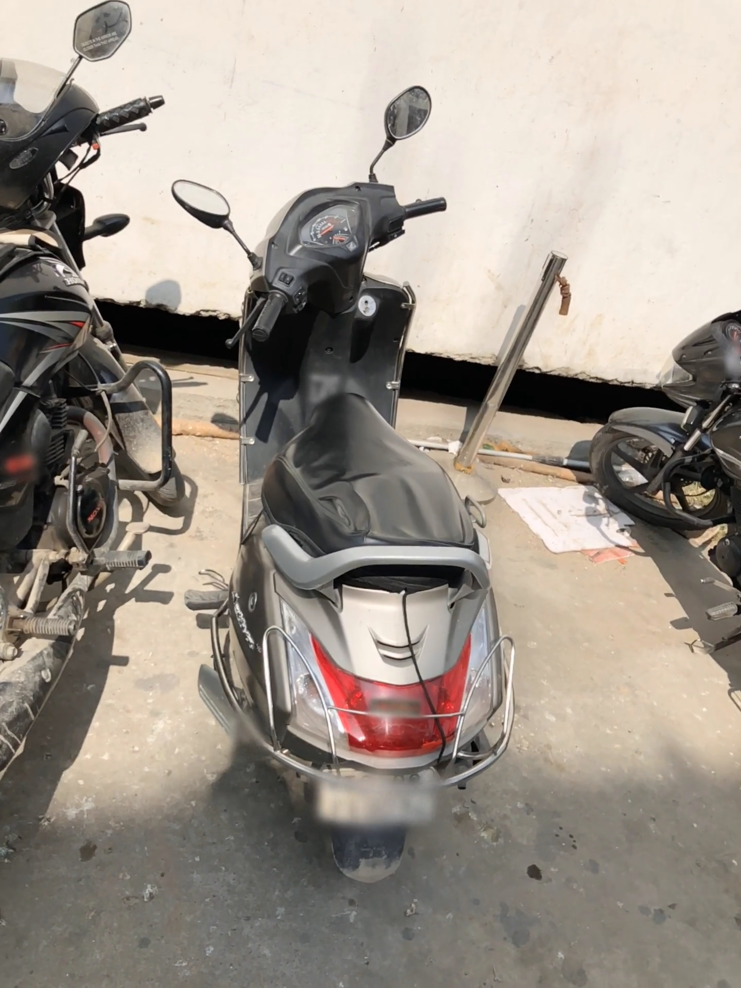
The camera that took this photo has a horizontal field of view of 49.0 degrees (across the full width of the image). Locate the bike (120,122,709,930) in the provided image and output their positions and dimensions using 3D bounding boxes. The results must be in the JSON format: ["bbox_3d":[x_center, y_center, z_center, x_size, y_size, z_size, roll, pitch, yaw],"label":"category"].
[{"bbox_3d":[-0.092,-0.068,1.880,0.616,1.108,1.506,10,31,-16],"label":"bike"}]
